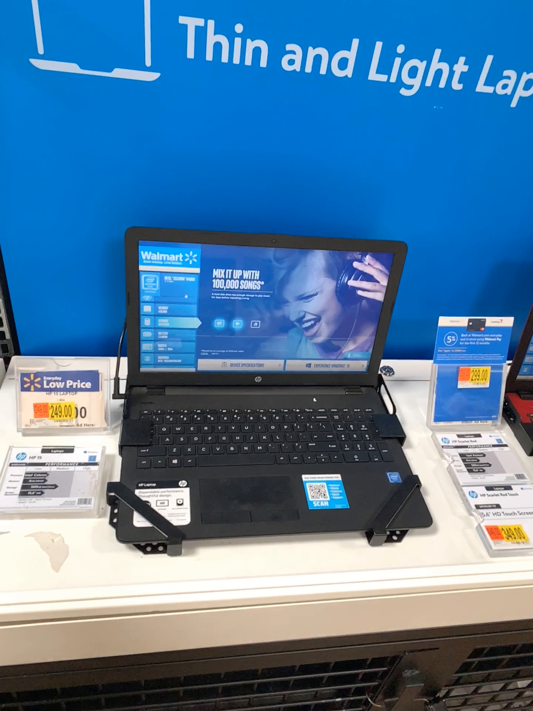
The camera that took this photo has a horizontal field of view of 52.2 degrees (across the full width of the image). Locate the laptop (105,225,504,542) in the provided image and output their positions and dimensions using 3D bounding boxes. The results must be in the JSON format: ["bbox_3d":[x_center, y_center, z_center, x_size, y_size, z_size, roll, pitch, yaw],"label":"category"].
[{"bbox_3d":[0.011,0.023,0.657,0.363,0.225,0.287,0,40,-11],"label":"laptop"}]
